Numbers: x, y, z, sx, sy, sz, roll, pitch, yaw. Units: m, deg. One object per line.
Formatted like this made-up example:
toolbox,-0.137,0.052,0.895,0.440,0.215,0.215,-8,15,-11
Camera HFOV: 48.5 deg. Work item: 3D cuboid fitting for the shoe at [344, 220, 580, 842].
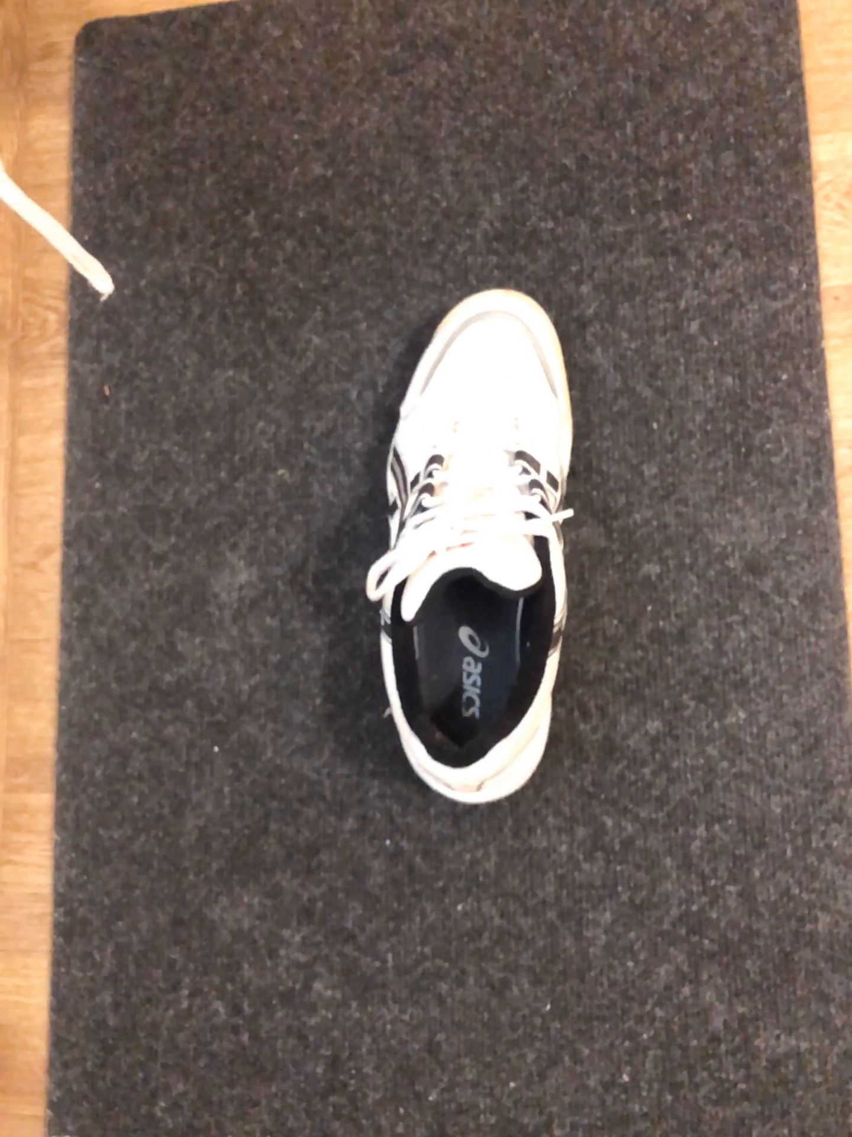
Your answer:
shoe,0.025,-0.016,0.479,0.100,0.100,0.280,0,83,10
